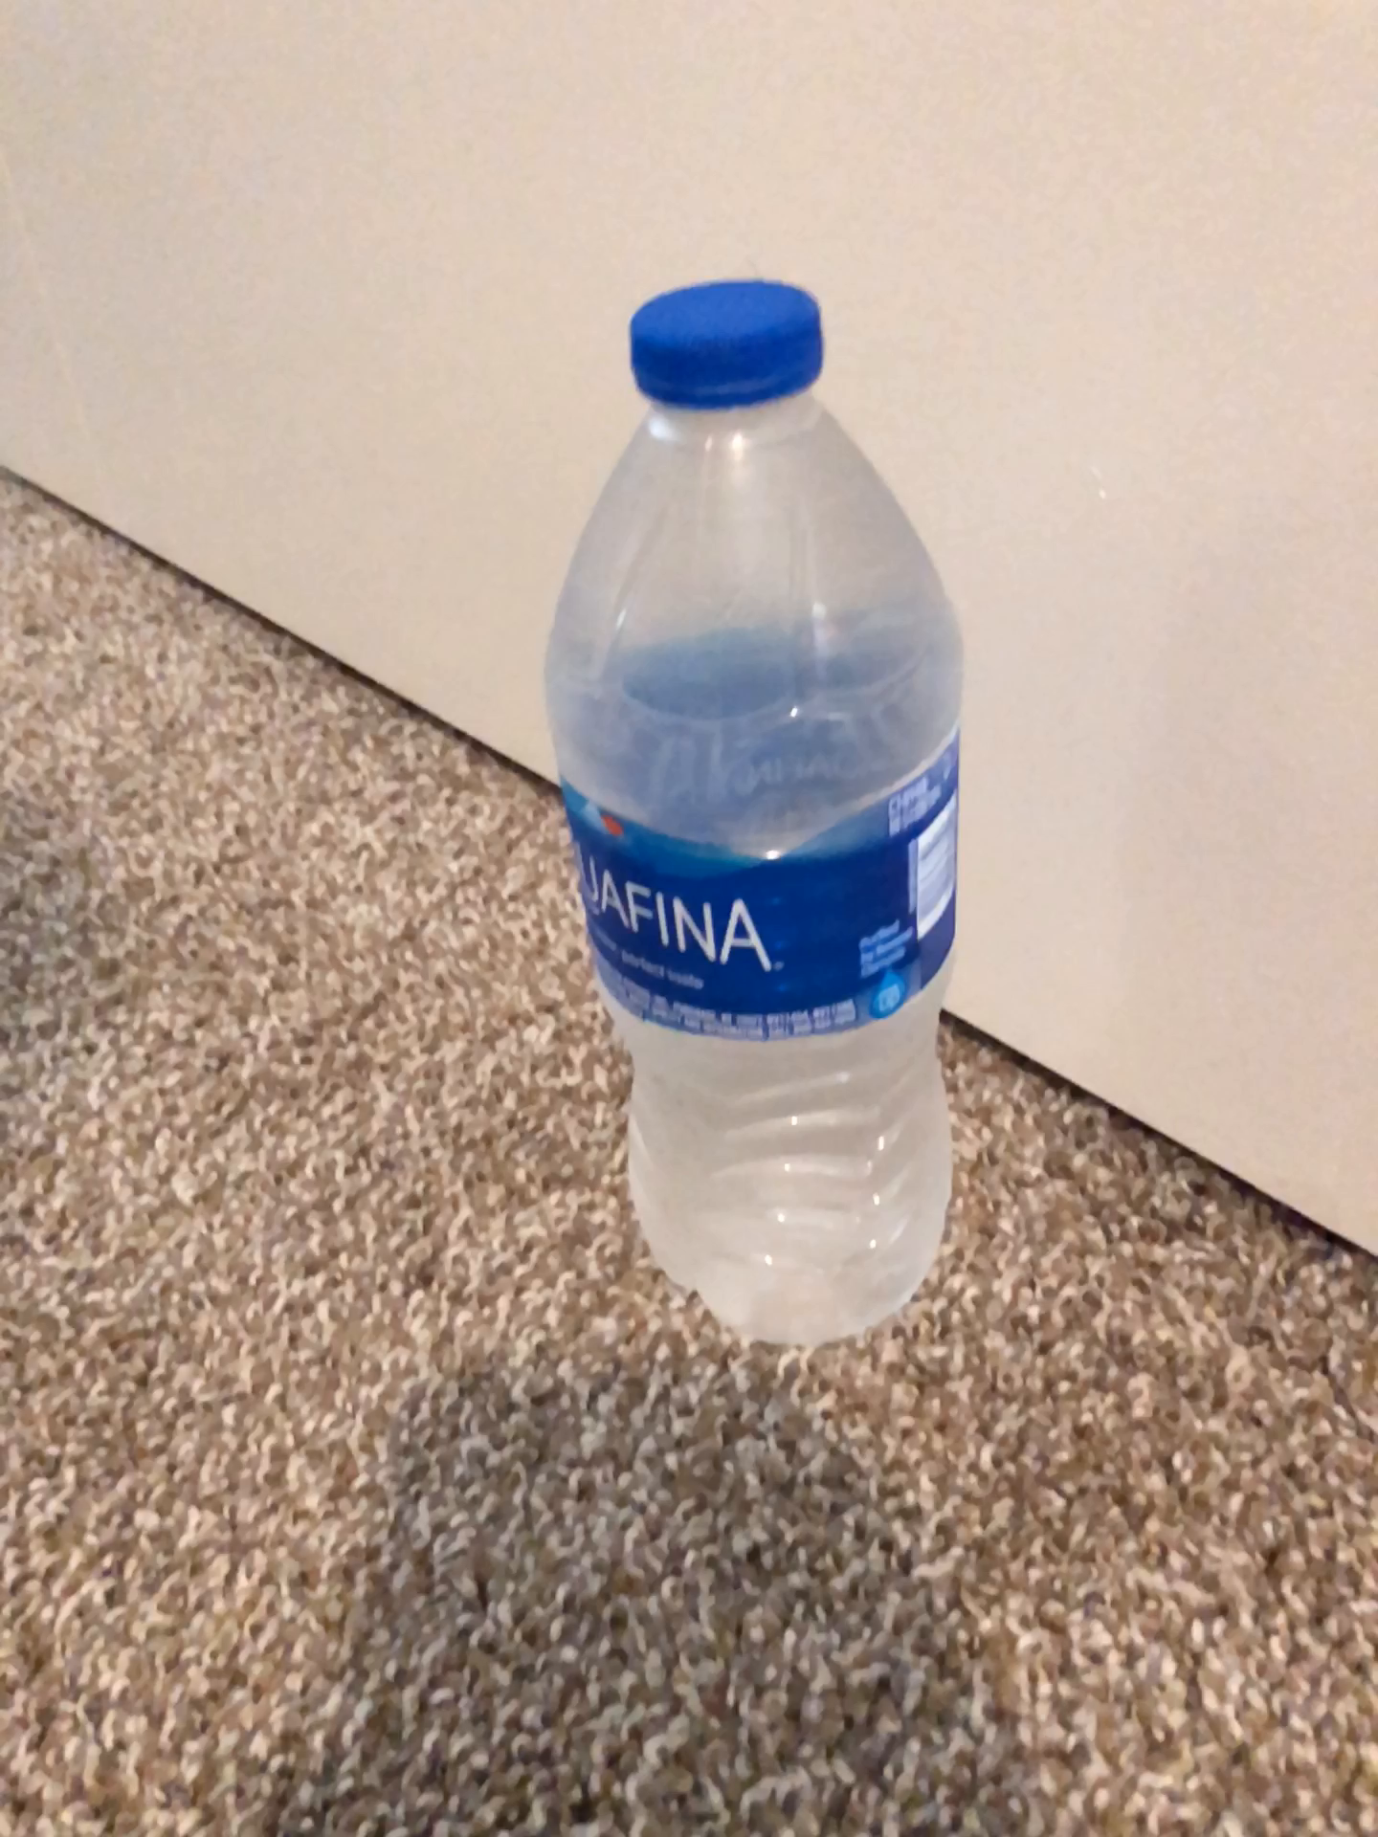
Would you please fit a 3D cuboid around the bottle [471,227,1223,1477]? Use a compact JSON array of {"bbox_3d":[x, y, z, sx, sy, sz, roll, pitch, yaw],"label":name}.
[{"bbox_3d":[0.025,-0.004,0.261,0.070,0.189,0.070,-3,37,2],"label":"bottle"}]
